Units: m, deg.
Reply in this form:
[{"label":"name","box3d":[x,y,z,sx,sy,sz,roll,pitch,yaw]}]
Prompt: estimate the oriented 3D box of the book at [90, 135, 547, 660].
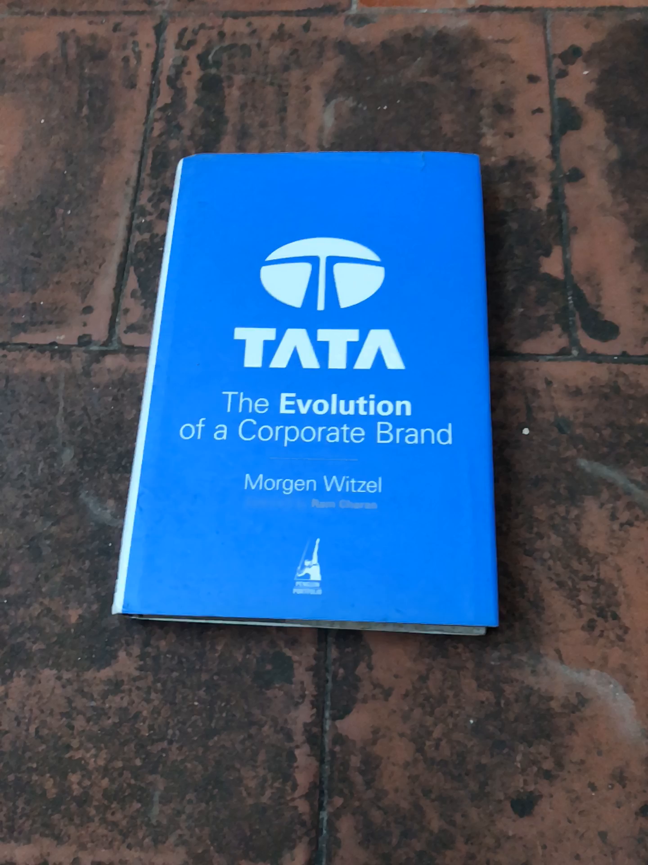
[{"label":"book","box3d":[0.003,-0.027,0.330,0.170,0.040,0.240,2,69,3]}]
